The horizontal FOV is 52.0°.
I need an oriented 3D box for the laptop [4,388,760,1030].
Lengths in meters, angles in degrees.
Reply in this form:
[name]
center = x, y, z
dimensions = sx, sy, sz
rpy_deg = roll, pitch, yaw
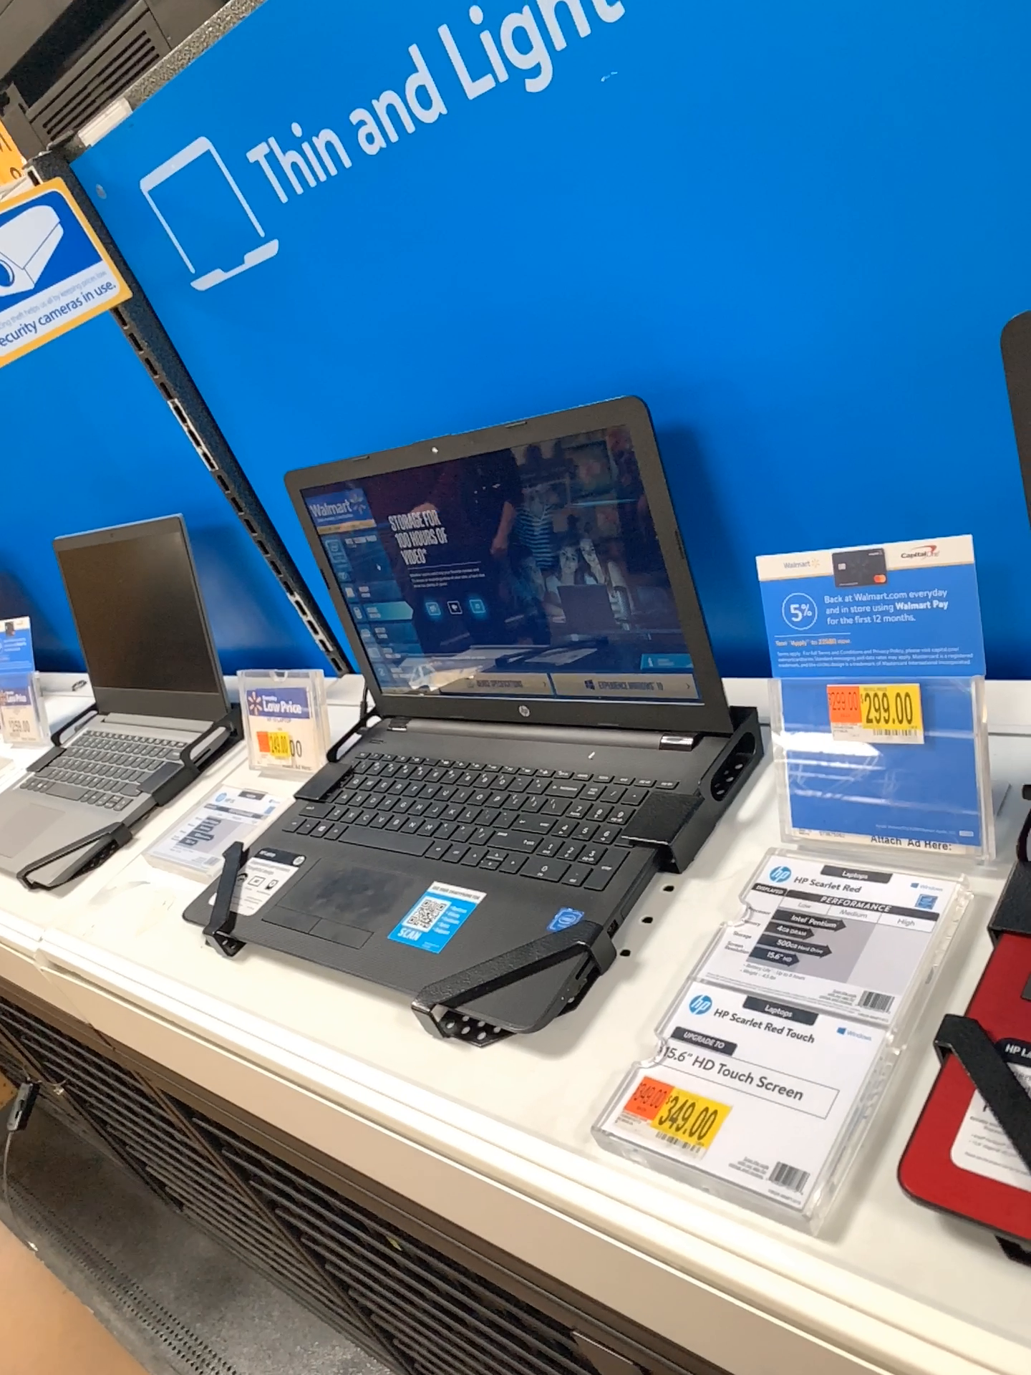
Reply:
[laptop]
center = -0.090, -0.001, 0.716
dimensions = 0.364, 0.225, 0.286
rpy_deg = 1, 38, 44
